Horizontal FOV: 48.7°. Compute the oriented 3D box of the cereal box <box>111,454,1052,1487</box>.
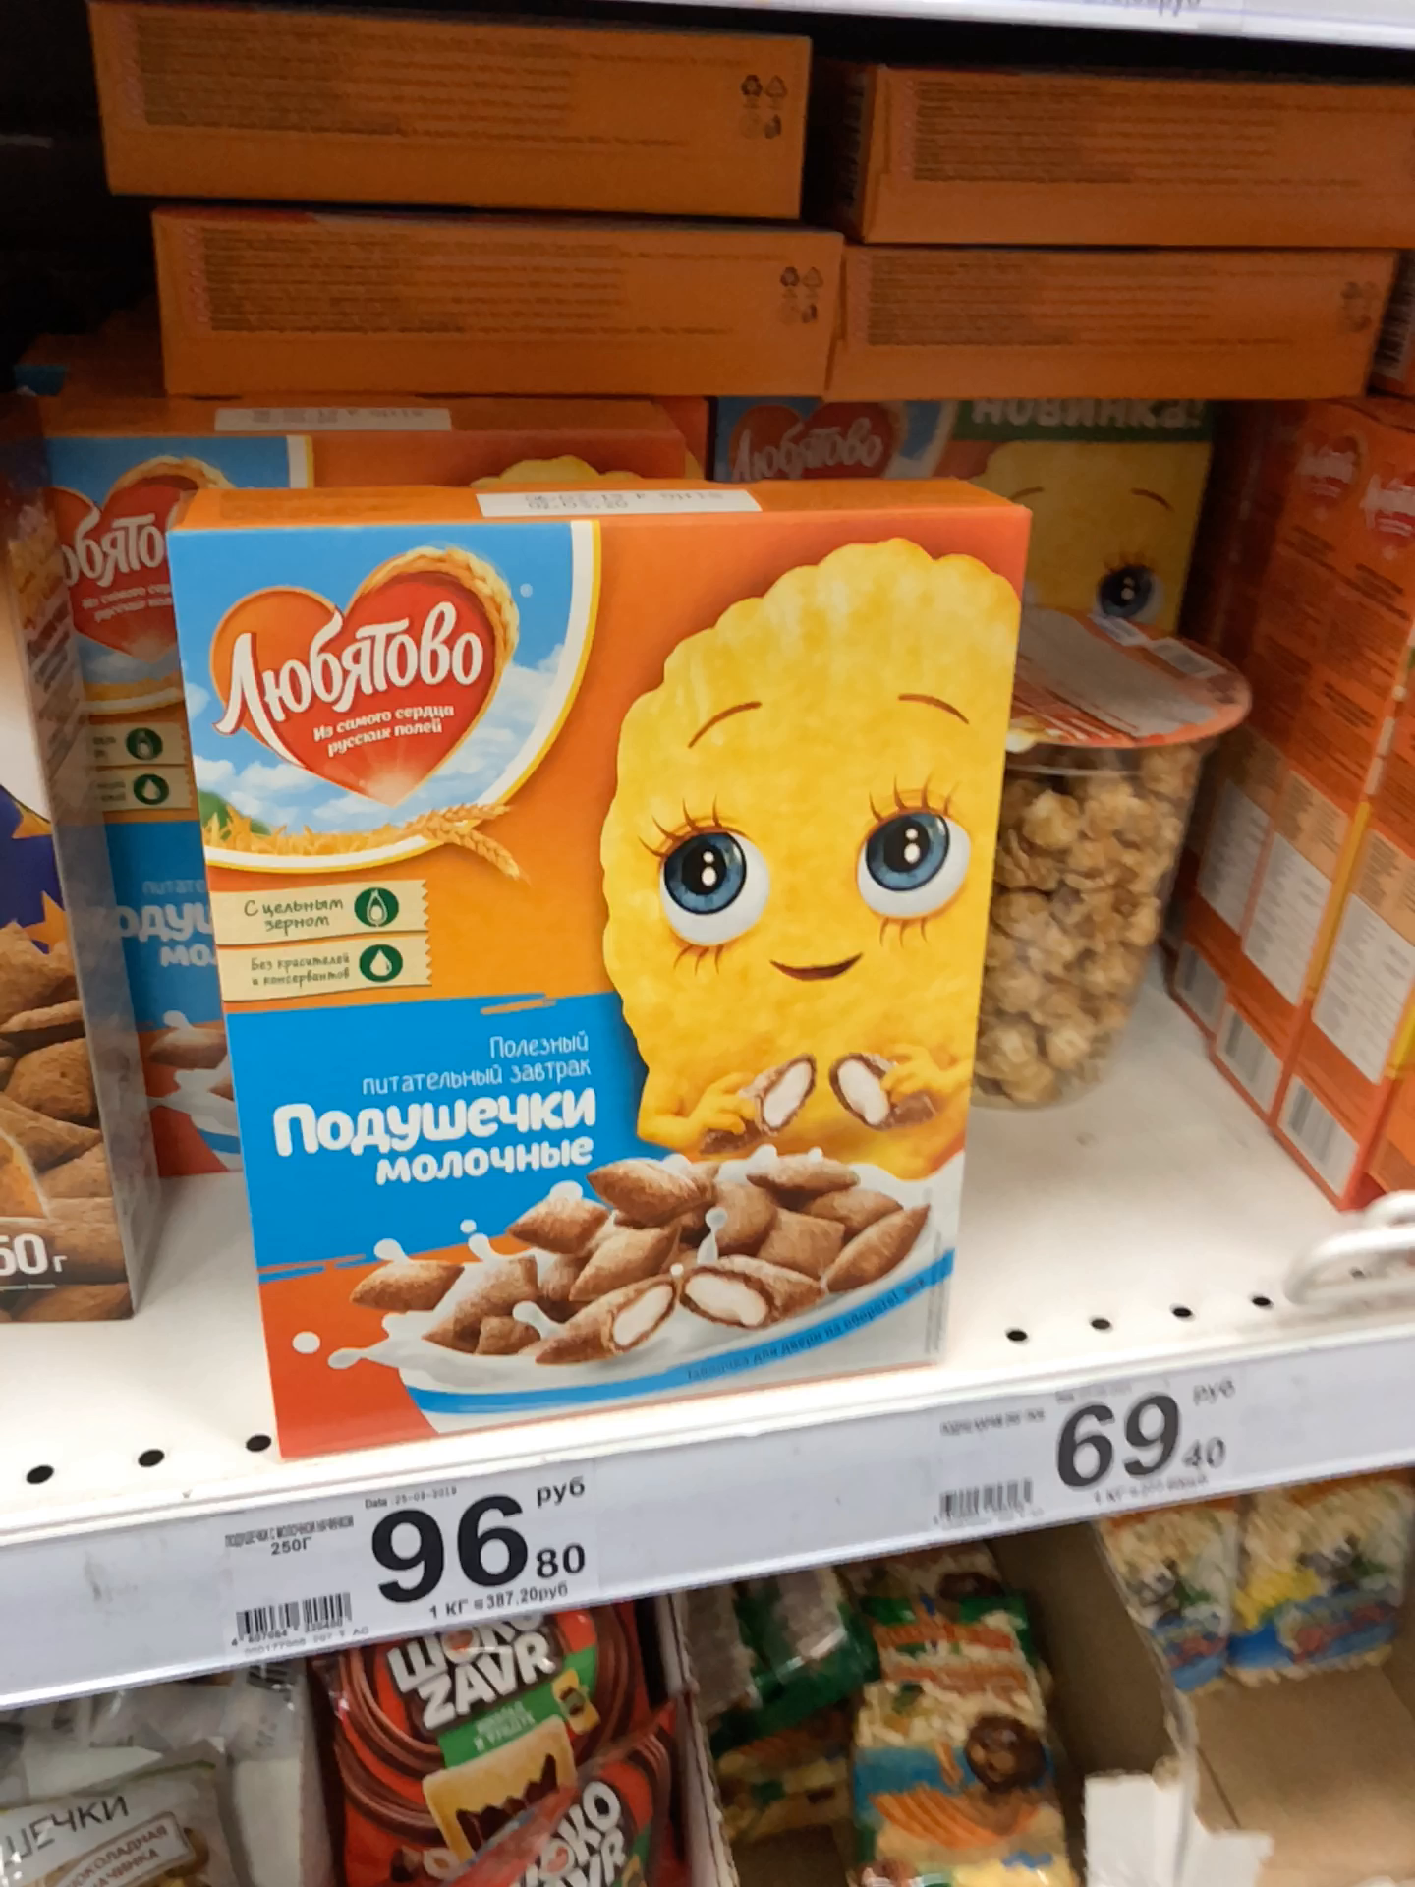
[{"bbox_3d":[-0.028,0.008,0.367,0.180,0.229,0.050,-5,27,-14],"label":"cereal box"}]
